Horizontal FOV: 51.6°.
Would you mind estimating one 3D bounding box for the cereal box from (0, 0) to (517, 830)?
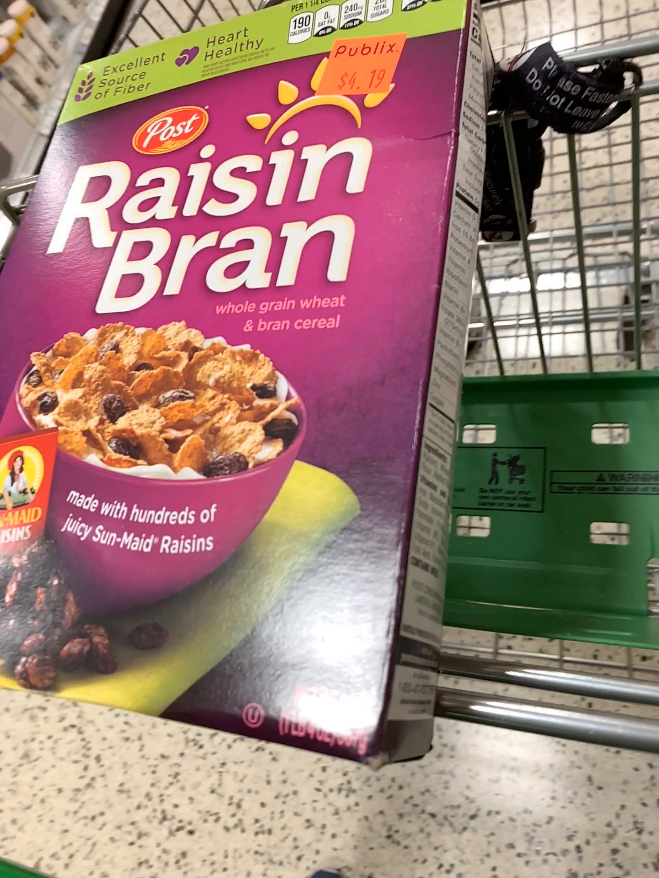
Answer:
[{"bbox_3d":[-0.050,-0.040,0.257,0.210,0.060,0.281,0,68,25],"label":"cereal box"}]
